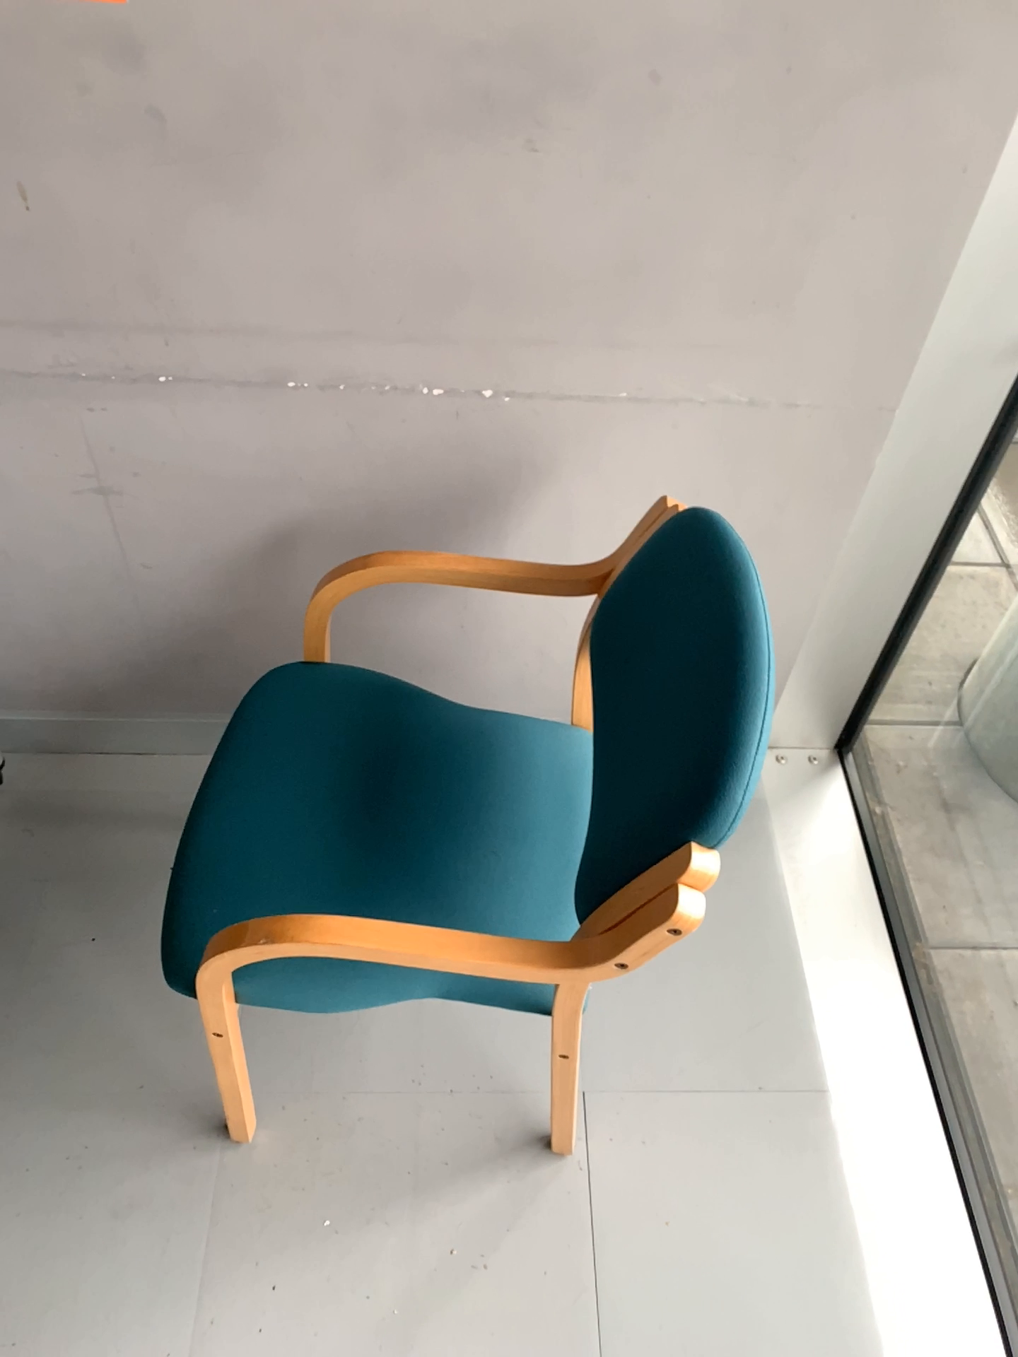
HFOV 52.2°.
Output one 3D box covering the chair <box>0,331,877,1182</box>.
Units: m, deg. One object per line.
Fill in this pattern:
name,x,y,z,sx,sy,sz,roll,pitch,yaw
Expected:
chair,-0.067,0.117,1.240,0.640,0.724,0.686,3,49,-2
